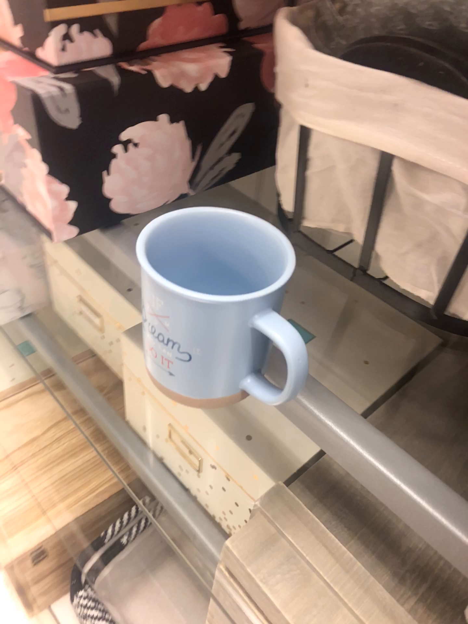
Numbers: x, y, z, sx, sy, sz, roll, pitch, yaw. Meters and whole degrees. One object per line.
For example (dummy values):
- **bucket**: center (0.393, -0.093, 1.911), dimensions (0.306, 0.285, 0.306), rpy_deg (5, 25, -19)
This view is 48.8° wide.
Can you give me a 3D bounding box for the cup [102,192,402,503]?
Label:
- **cup**: center (0.003, 0.013, 0.321), dimensions (0.100, 0.100, 0.139), rpy_deg (-29, 53, -33)
